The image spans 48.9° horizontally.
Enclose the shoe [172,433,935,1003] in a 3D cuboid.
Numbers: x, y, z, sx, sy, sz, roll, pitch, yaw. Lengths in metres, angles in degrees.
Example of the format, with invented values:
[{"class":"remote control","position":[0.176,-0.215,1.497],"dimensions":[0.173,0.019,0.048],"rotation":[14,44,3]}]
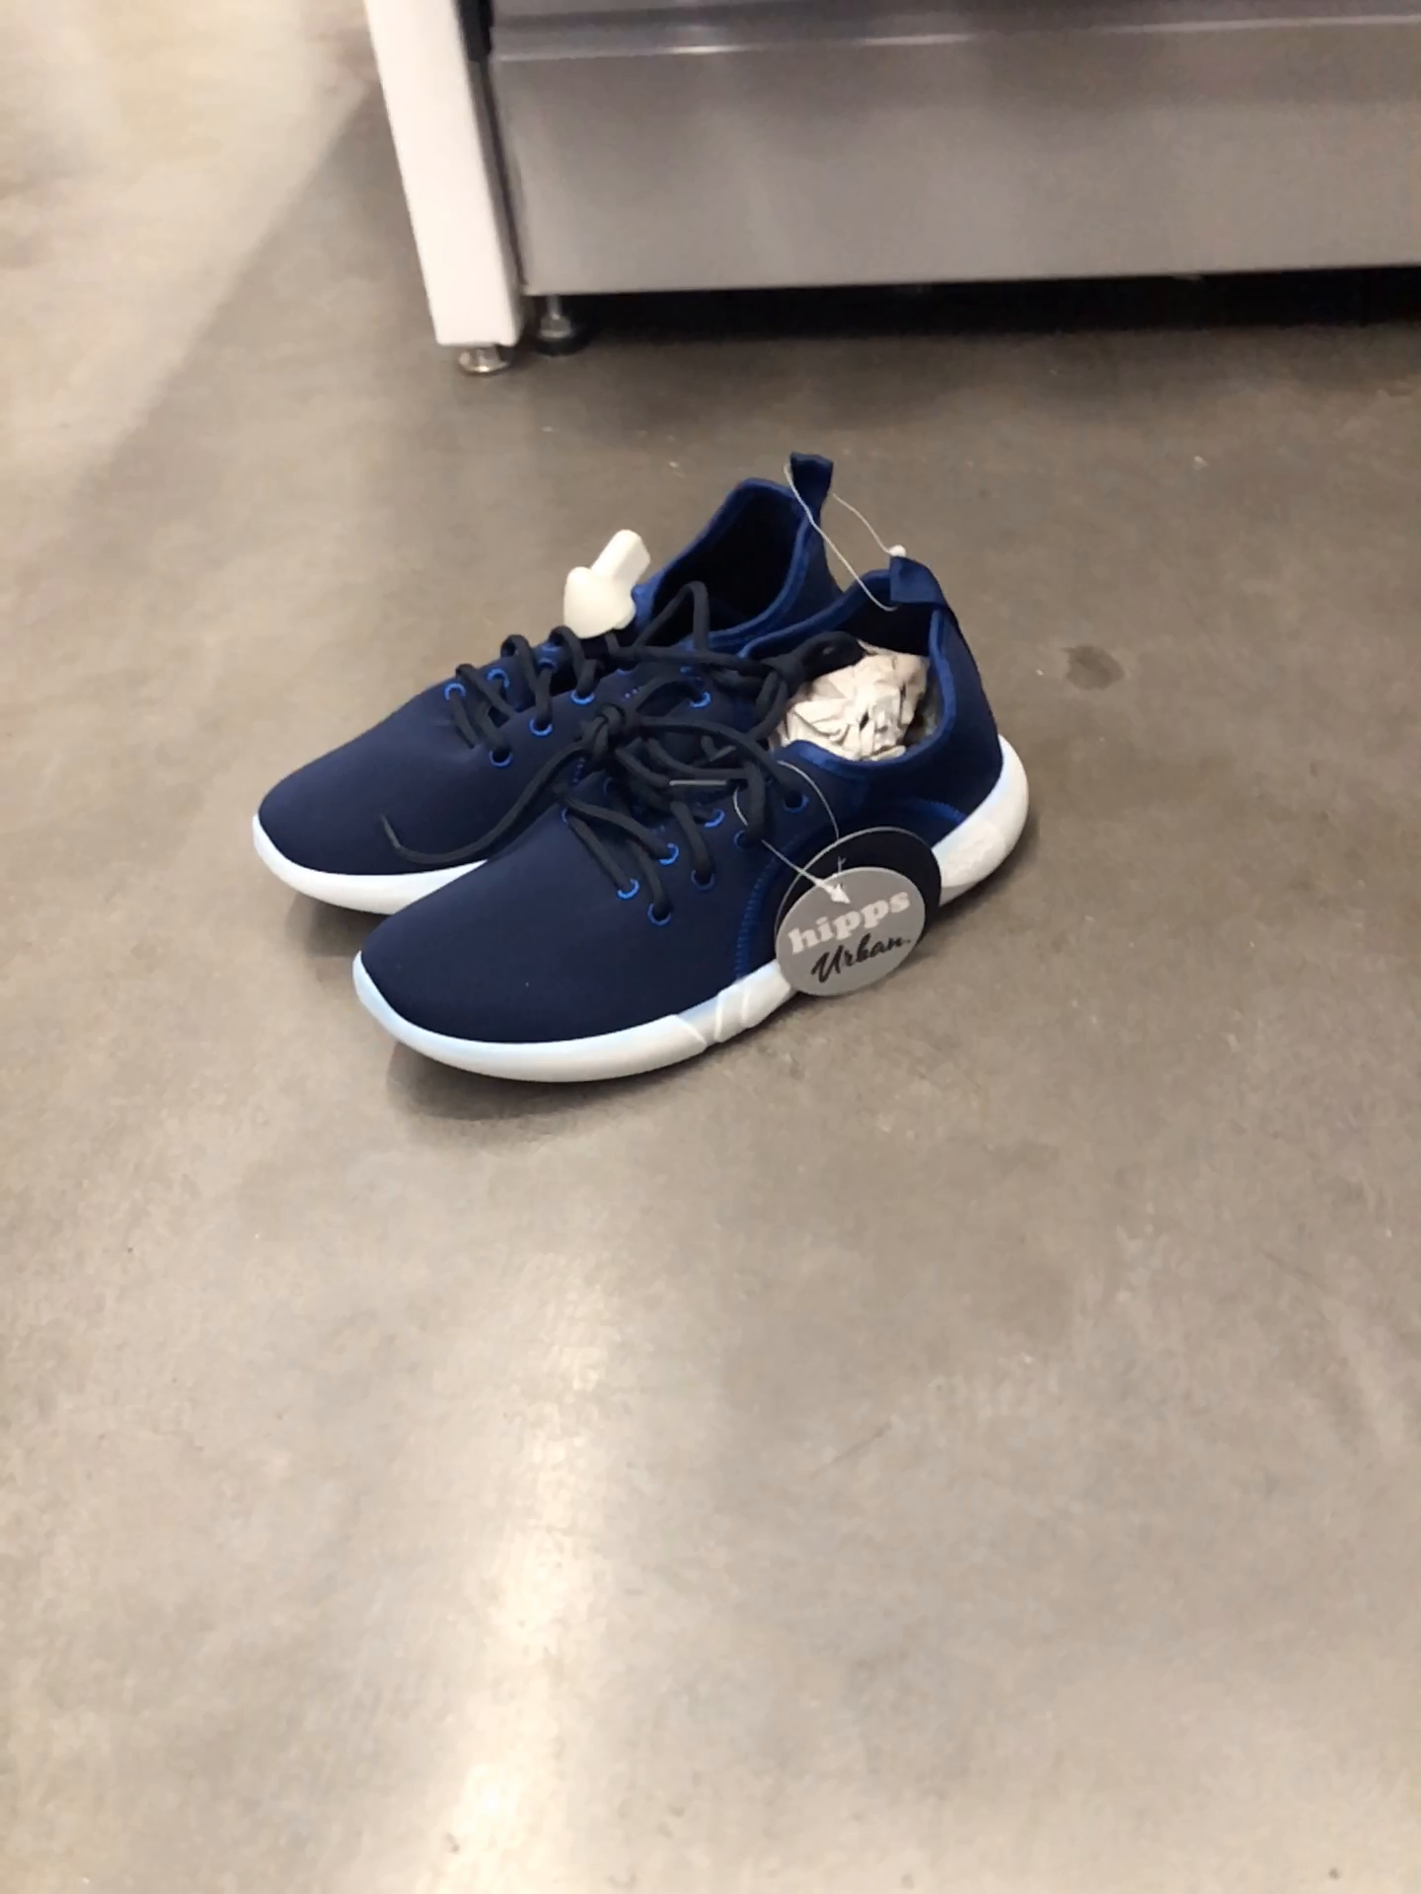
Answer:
[{"class":"shoe","position":[-0.047,-0.087,0.553],"dimensions":[0.241,0.090,0.090],"rotation":[-24,48,-17]}]

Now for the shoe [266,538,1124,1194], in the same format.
[{"class":"shoe","position":[0.001,-0.032,0.494],"dimensions":[0.241,0.090,0.090],"rotation":[-24,48,-17]}]
